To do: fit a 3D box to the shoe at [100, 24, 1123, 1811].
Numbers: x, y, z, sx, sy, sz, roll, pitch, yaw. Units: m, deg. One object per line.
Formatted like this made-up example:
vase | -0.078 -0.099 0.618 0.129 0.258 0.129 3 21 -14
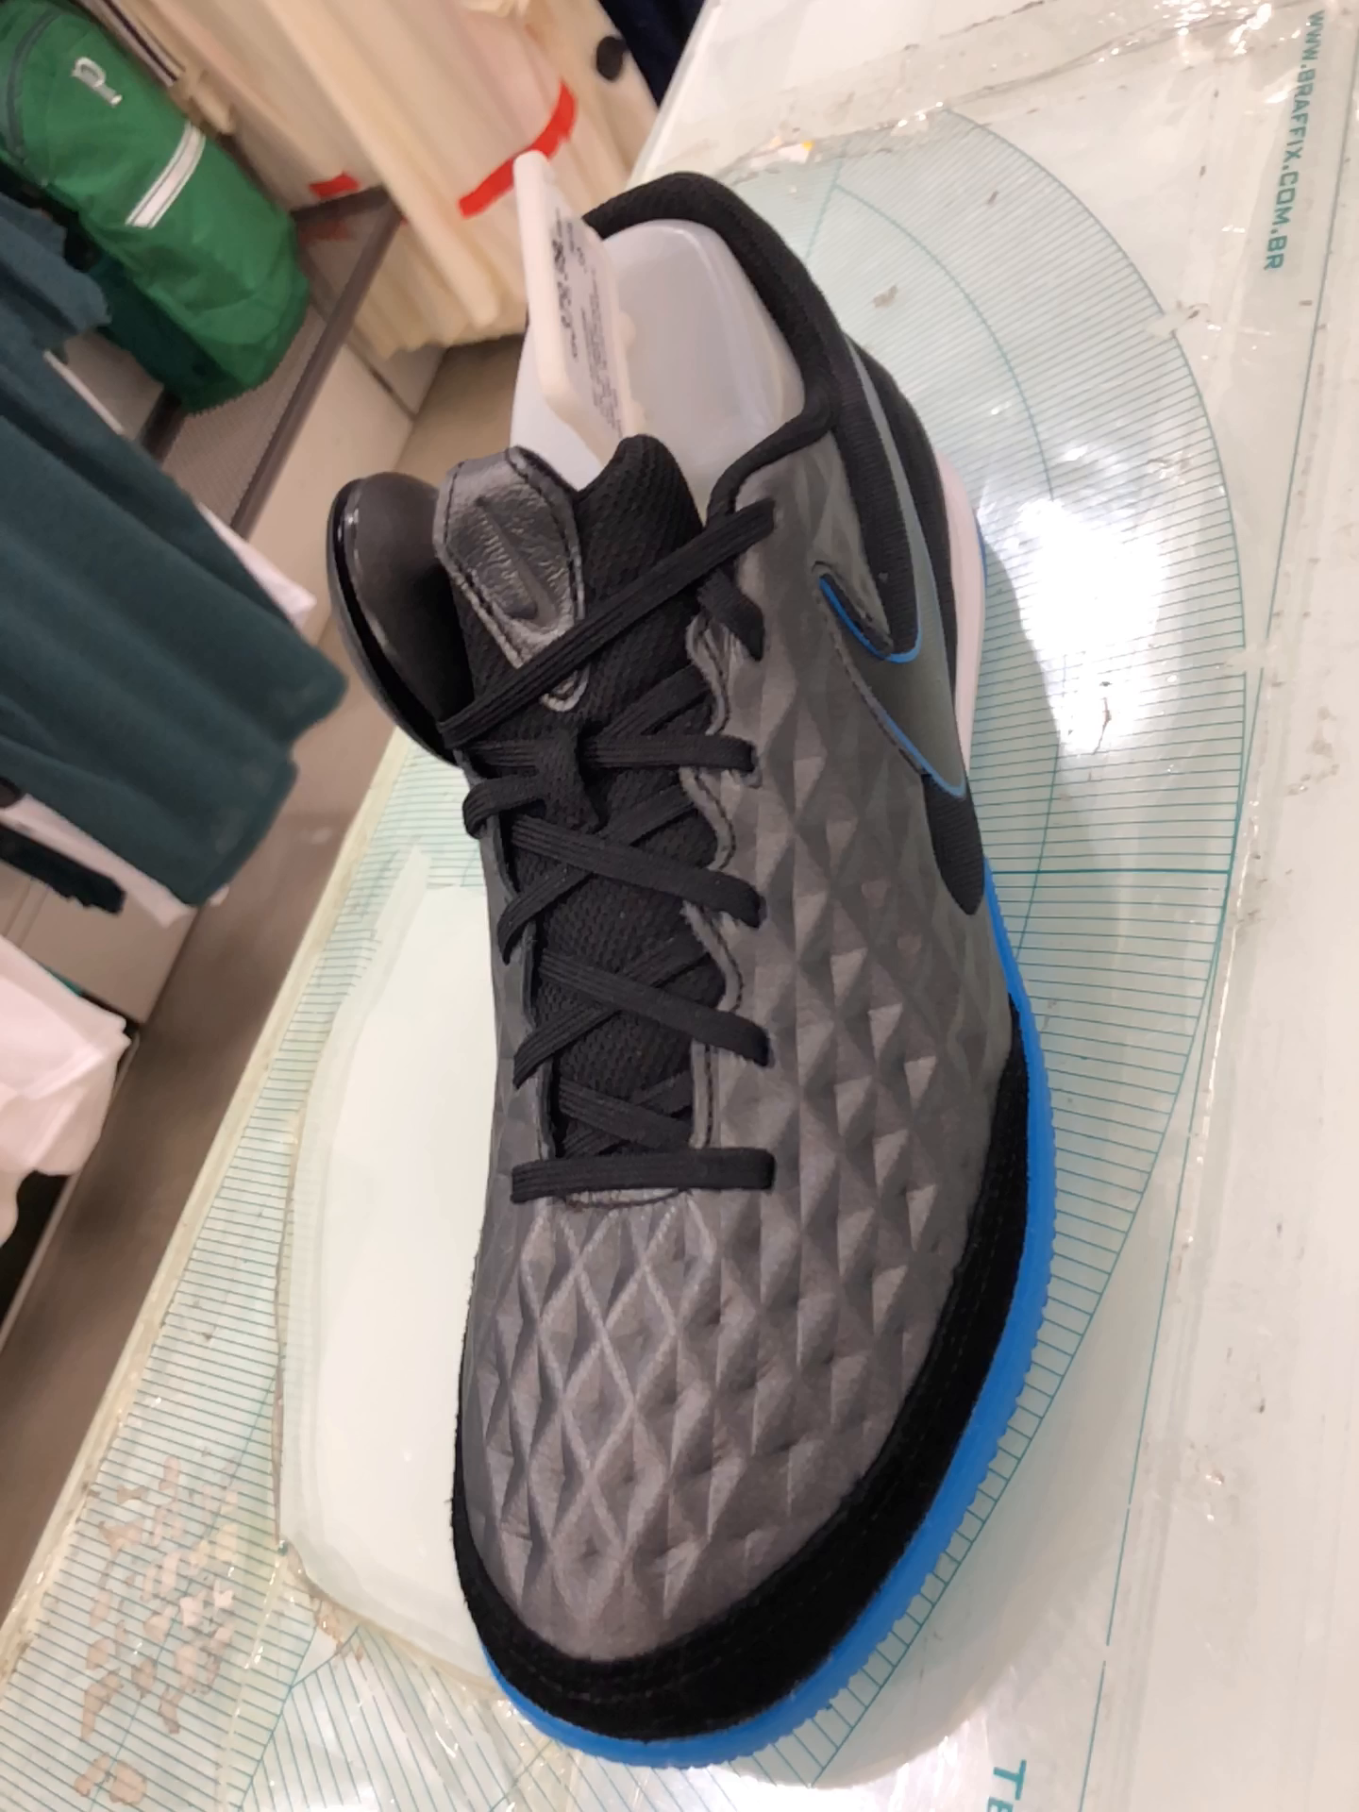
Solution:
shoe | 0.014 -0.009 0.272 0.100 0.099 0.291 -9 56 29
